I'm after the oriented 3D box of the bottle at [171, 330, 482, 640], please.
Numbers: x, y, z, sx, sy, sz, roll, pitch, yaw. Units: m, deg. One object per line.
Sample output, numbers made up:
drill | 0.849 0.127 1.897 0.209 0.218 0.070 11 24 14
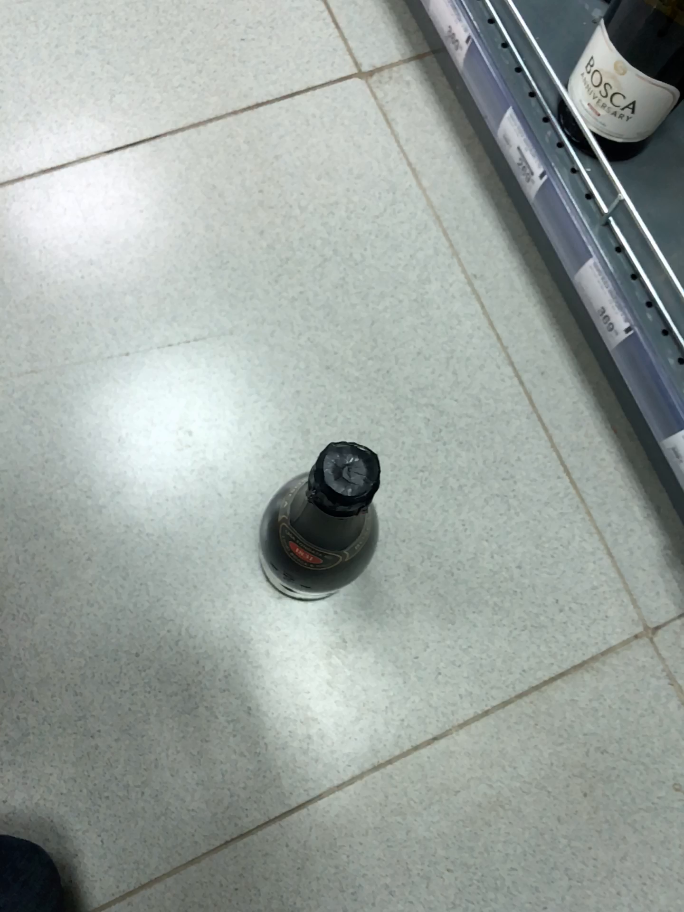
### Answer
bottle | -0.021 0.046 0.476 0.100 0.312 0.090 40 75 5
